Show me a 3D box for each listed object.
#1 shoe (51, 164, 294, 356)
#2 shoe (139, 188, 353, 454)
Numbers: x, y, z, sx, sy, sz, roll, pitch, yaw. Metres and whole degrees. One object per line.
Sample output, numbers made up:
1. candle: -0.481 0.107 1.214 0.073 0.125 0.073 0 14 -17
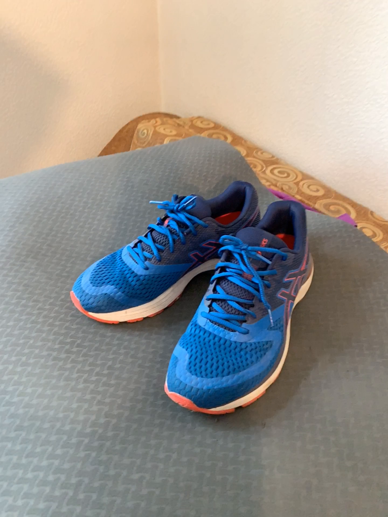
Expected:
1. shoe: -0.019 -0.013 0.553 0.300 0.109 0.120 -26 50 -26
2. shoe: 0.077 0.049 0.483 0.120 0.109 0.301 23 48 21
